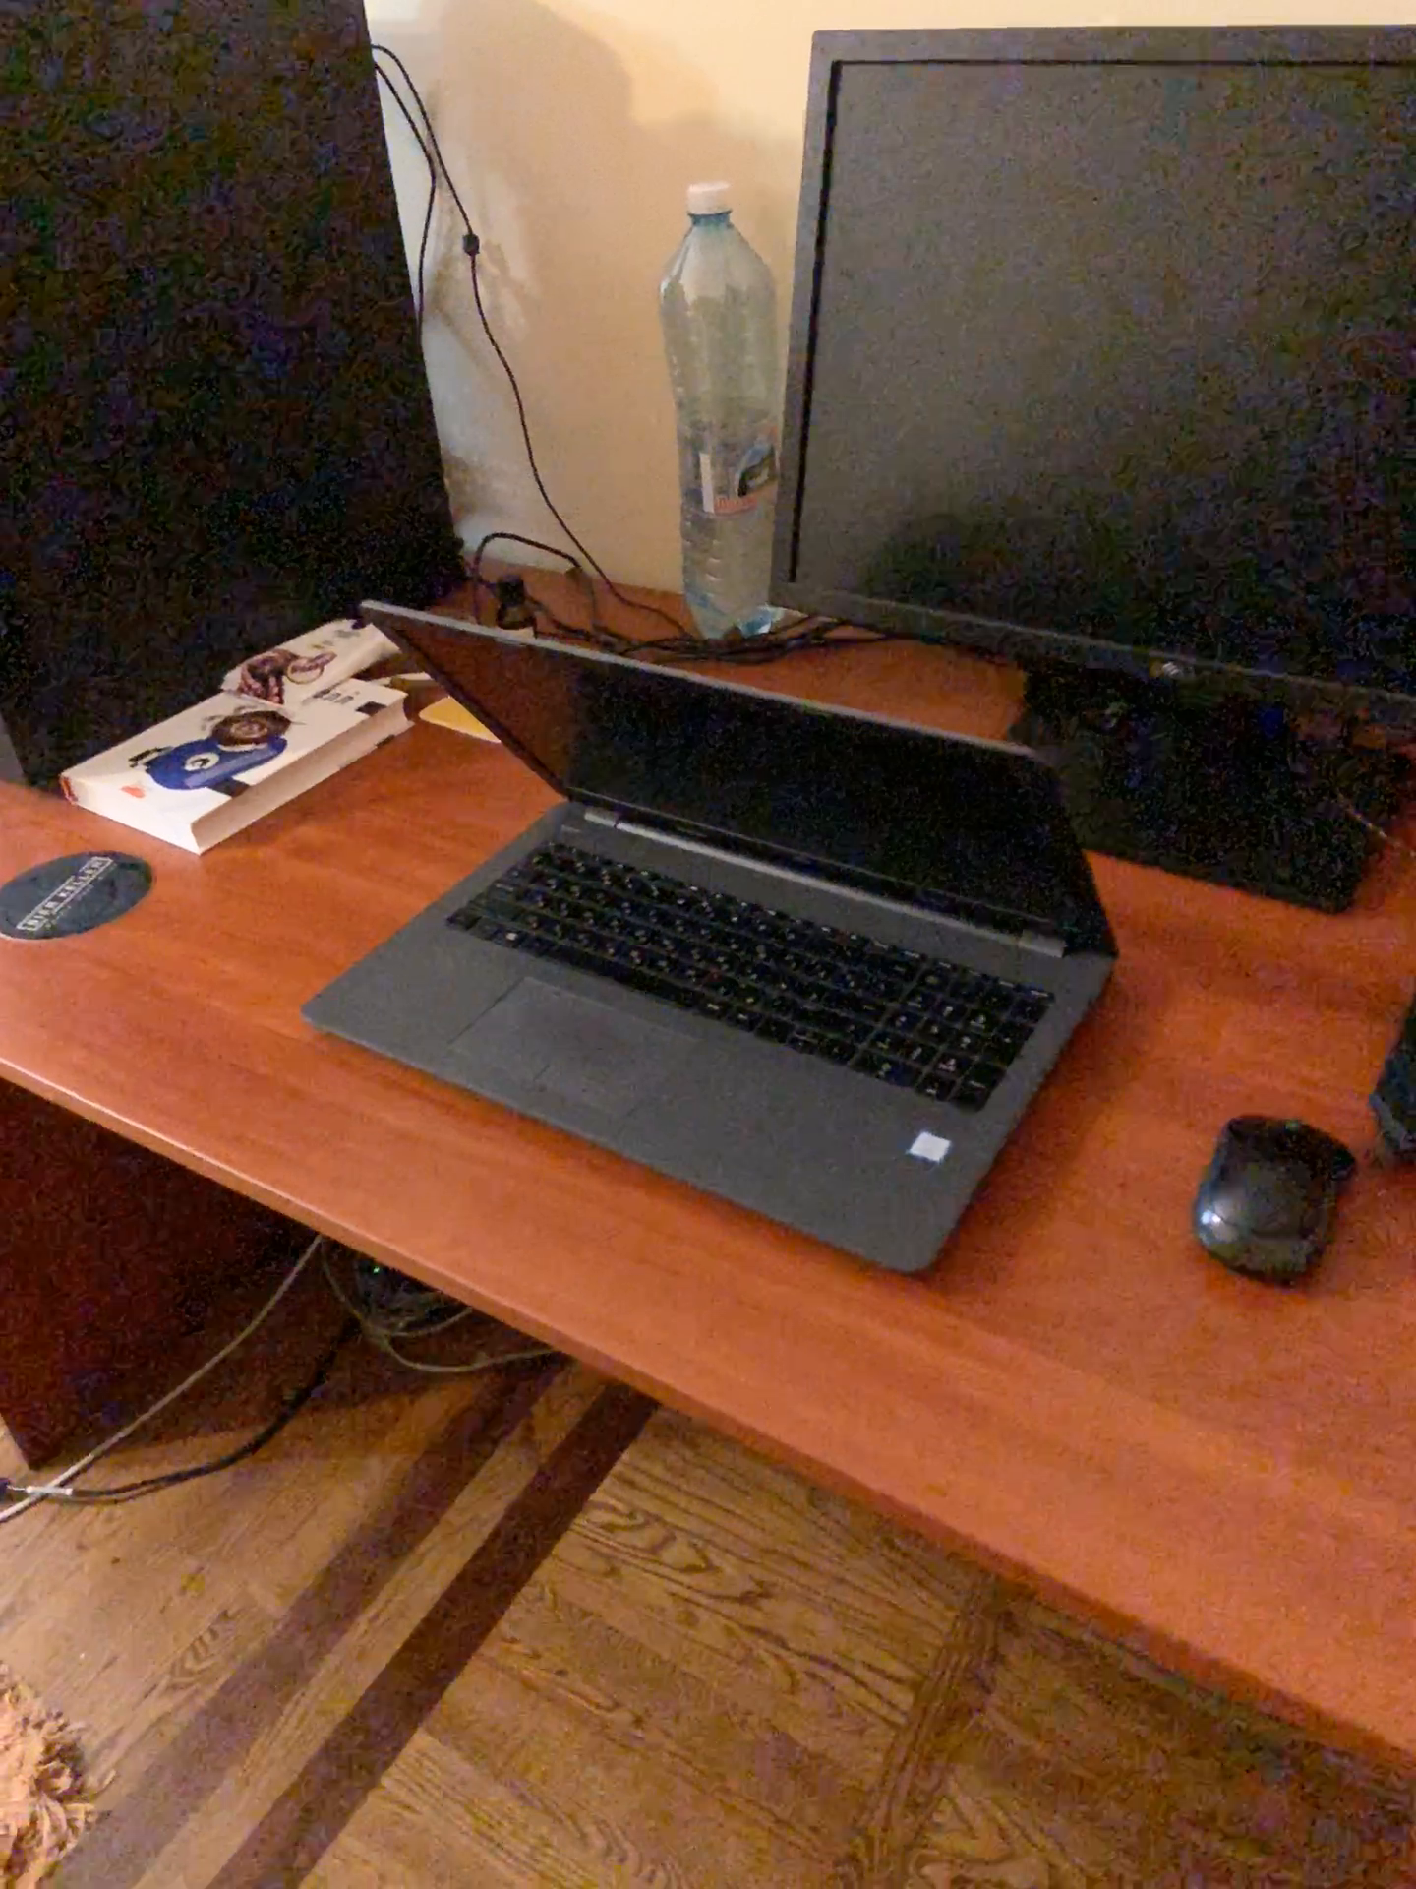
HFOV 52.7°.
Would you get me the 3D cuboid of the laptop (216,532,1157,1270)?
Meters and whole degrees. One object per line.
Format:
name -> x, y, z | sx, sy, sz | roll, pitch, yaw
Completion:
laptop -> -0.009, -0.053, 0.743 | 0.386, 0.193, 0.245 | 18, 42, 29
